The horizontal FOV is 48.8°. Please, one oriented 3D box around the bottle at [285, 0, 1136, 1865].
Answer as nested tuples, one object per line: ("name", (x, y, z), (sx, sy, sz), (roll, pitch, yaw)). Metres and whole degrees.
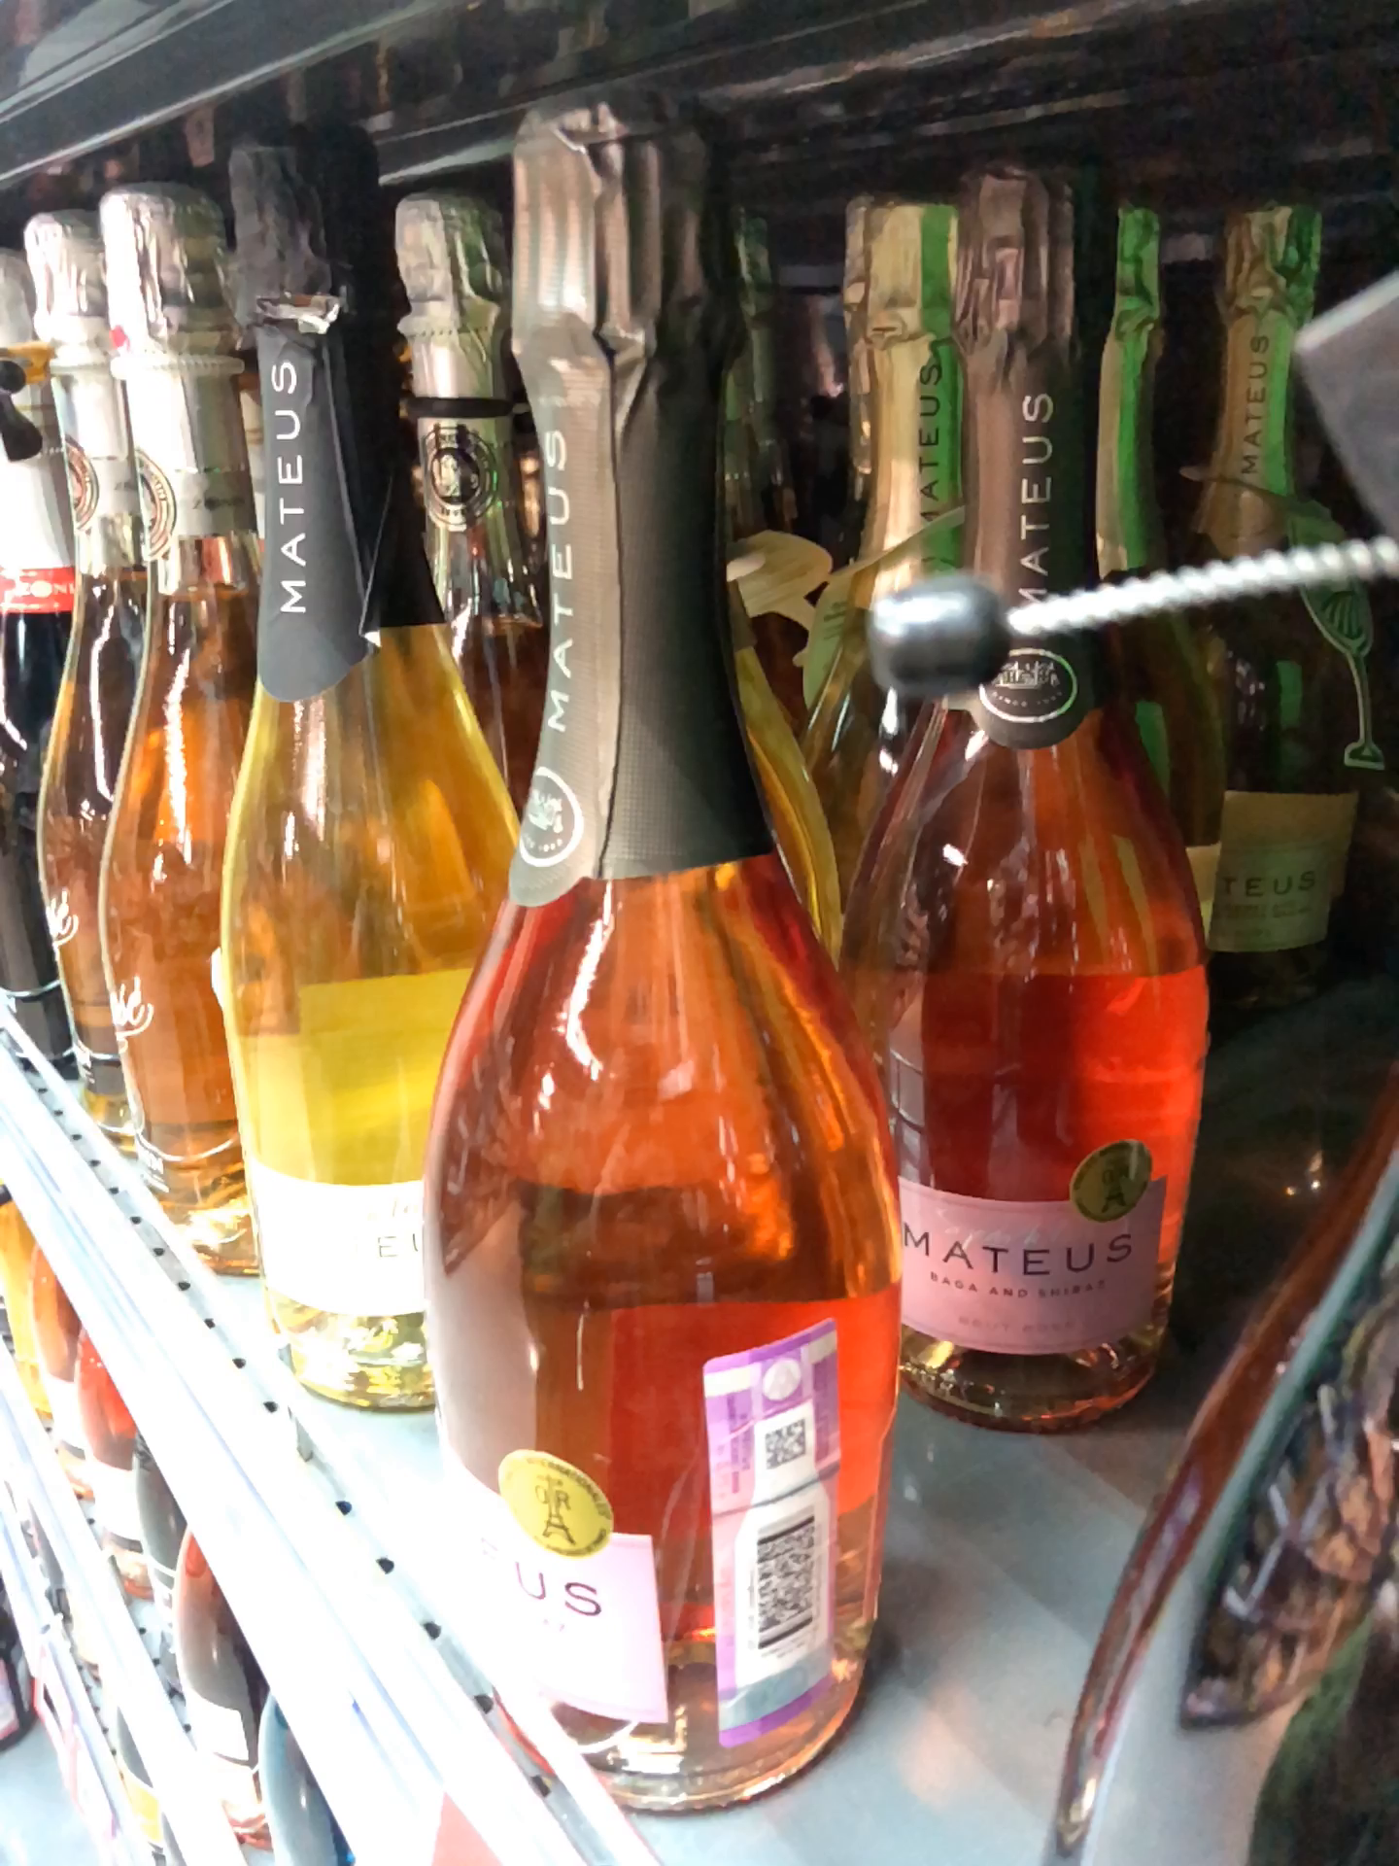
("bottle", (0.002, 0.016, 0.291), (0.090, 0.319, 0.100), (-15, 23, -33))
